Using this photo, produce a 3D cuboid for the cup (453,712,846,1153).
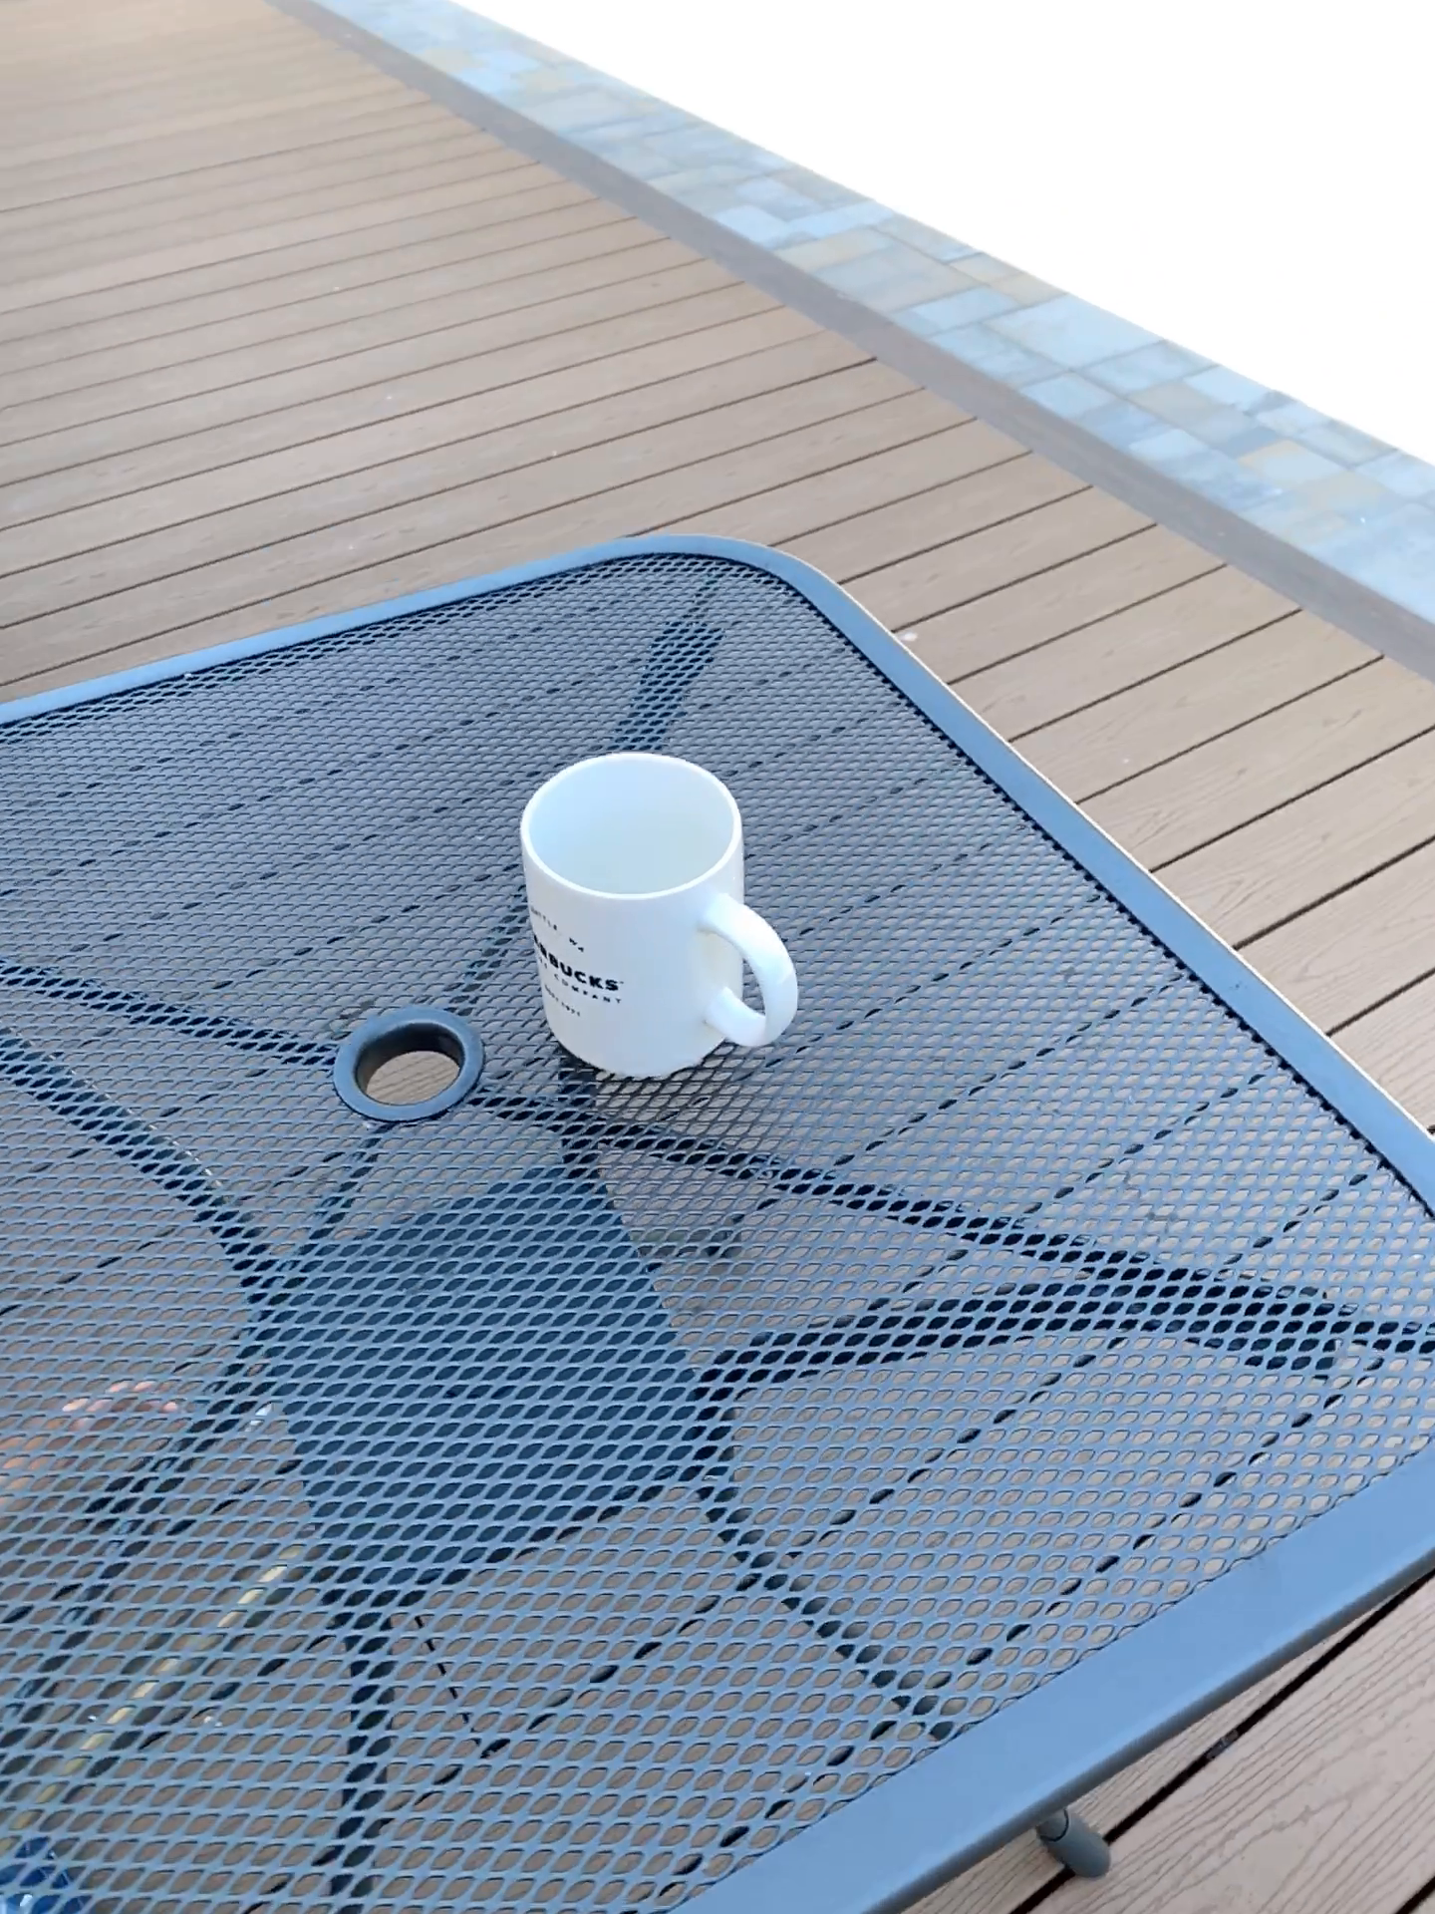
[{"bbox_3d":[-0.025,-0.011,0.568,0.120,0.100,0.080,33,55,28],"label":"cup"}]
